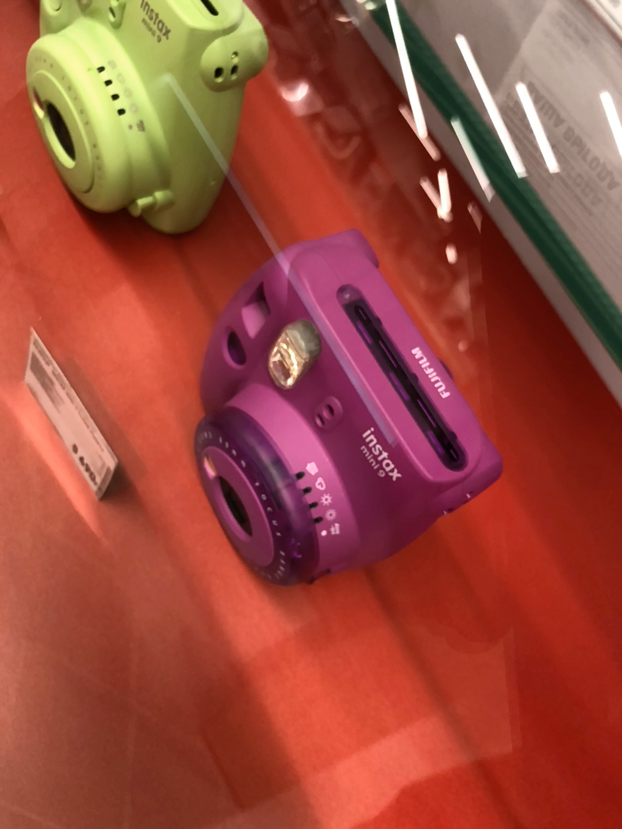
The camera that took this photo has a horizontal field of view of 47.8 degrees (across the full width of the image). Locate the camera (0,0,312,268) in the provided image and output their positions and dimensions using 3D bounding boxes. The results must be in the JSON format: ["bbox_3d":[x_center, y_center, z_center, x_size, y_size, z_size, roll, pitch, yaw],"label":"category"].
[{"bbox_3d":[-0.084,-0.164,0.314,0.073,0.118,0.135,-31,81,-28],"label":"camera"}]

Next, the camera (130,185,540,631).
[{"bbox_3d":[-0.003,0.003,0.260,0.073,0.103,0.117,-25,78,-27],"label":"camera"}]
